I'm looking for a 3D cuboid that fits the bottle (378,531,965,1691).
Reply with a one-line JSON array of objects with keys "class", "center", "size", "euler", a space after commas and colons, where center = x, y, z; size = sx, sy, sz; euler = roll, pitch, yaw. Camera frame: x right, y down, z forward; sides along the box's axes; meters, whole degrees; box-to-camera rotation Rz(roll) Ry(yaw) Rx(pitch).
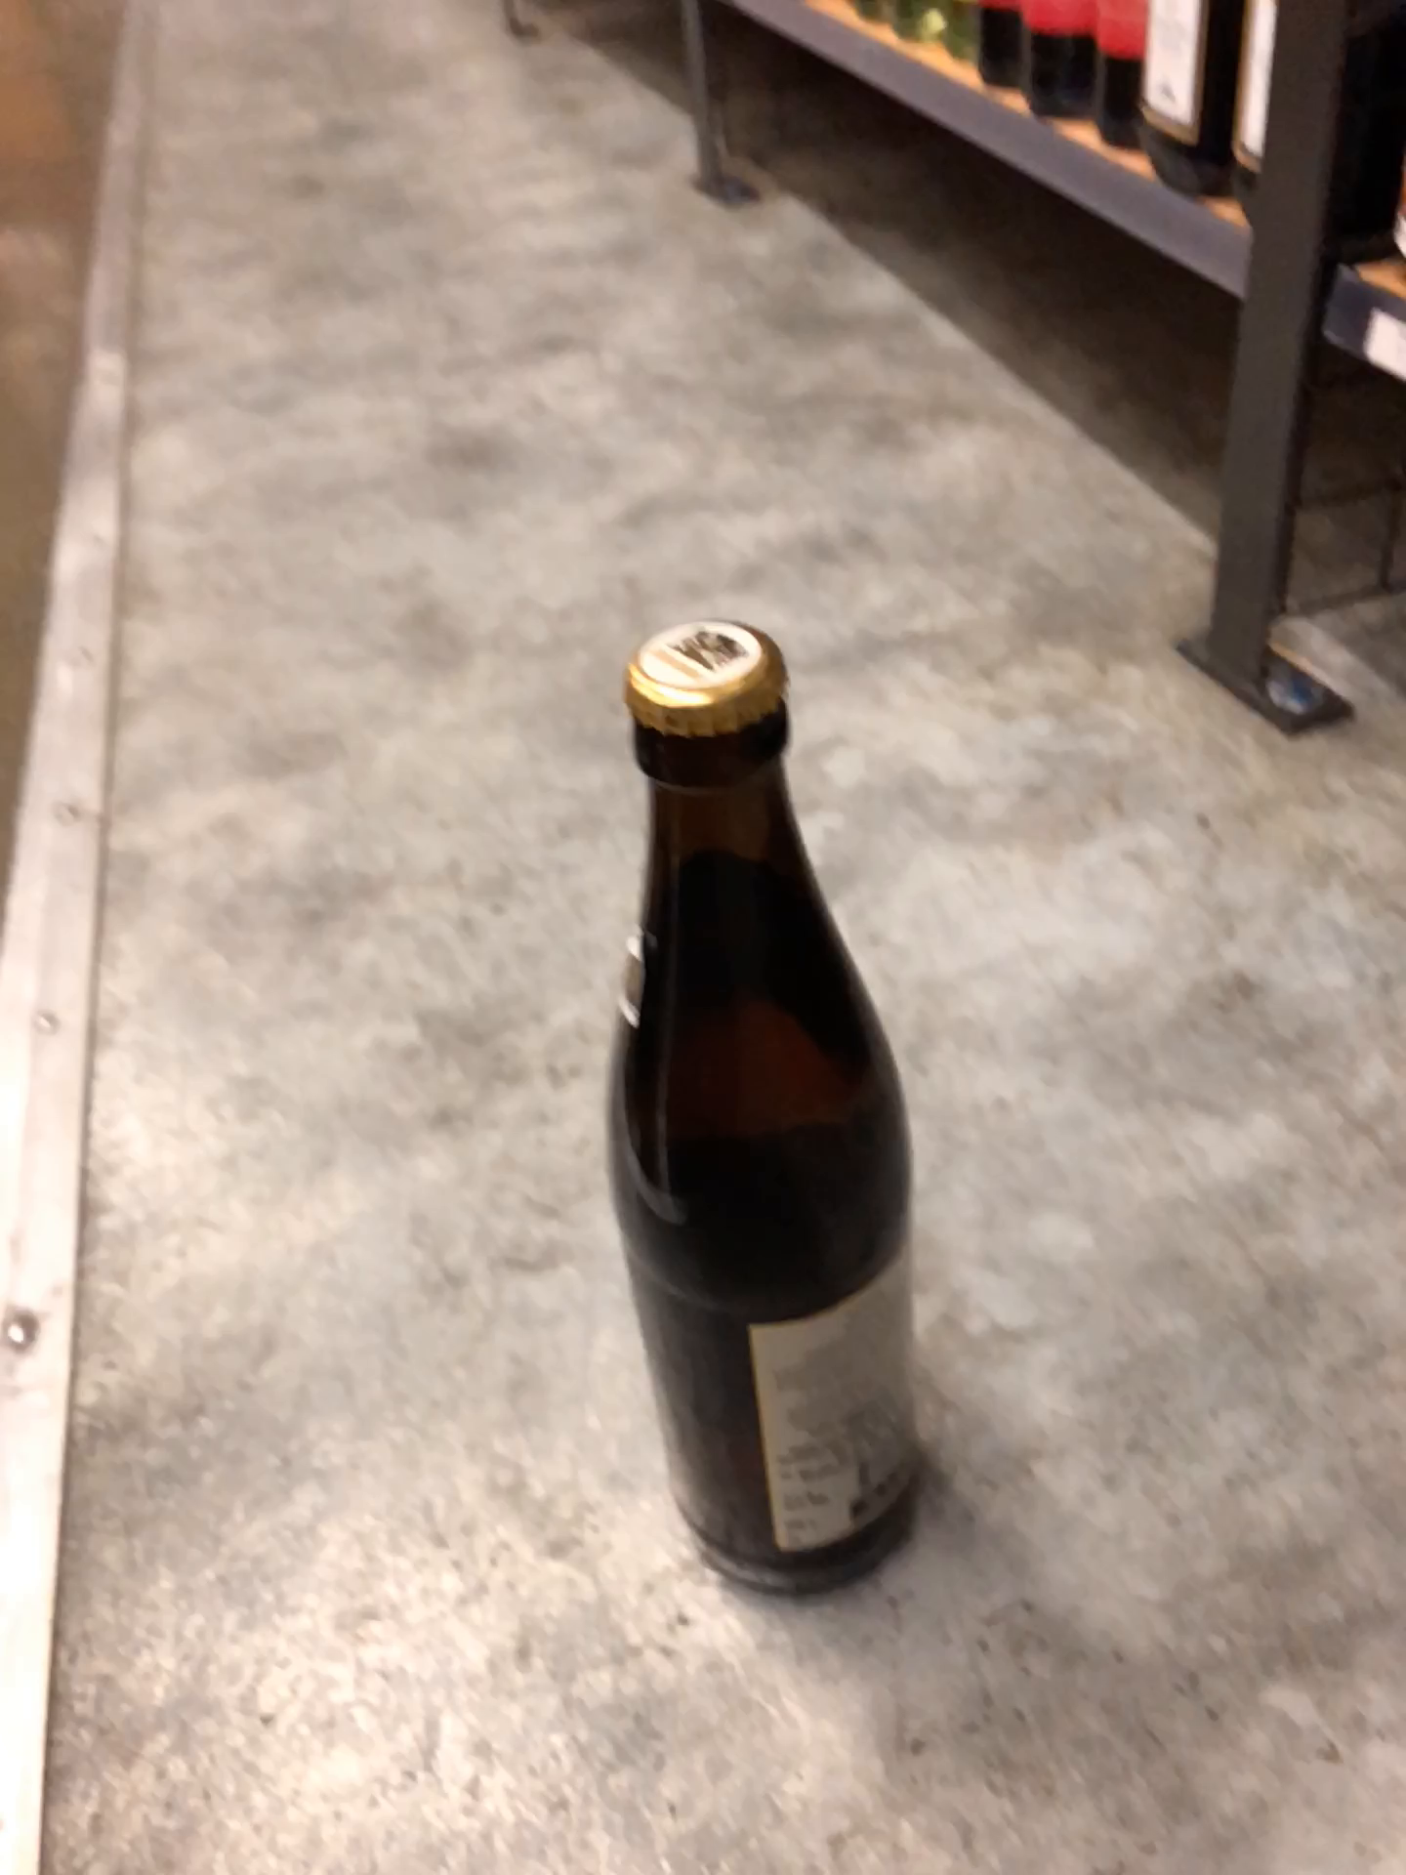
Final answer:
[{"class": "bottle", "center": [0.005, 0.052, 0.332], "size": [0.070, 0.249, 0.070], "euler": [-5, 39, 4]}]
